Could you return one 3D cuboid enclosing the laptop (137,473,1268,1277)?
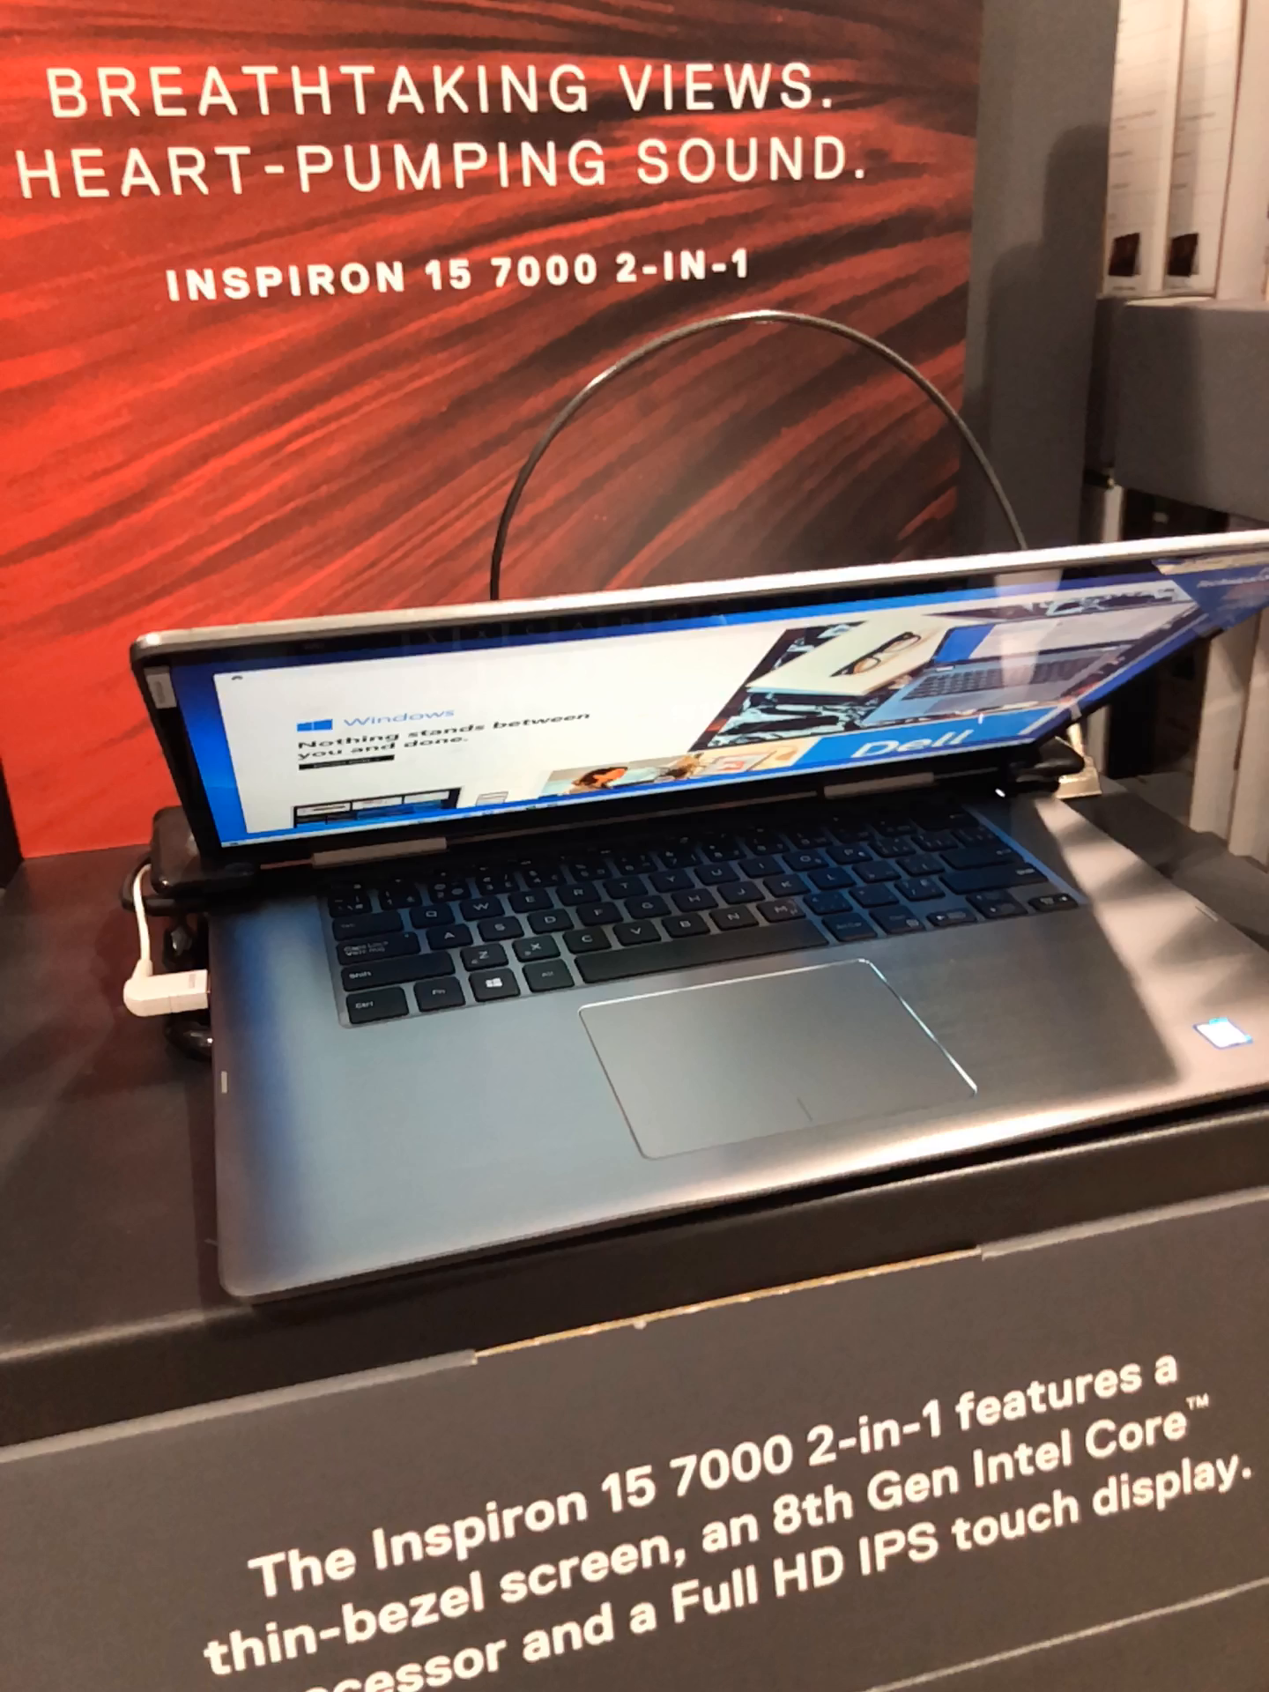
[{"bbox_3d":[0.034,-0.021,0.467,0.355,0.137,0.213,-8,25,-13],"label":"laptop"}]
